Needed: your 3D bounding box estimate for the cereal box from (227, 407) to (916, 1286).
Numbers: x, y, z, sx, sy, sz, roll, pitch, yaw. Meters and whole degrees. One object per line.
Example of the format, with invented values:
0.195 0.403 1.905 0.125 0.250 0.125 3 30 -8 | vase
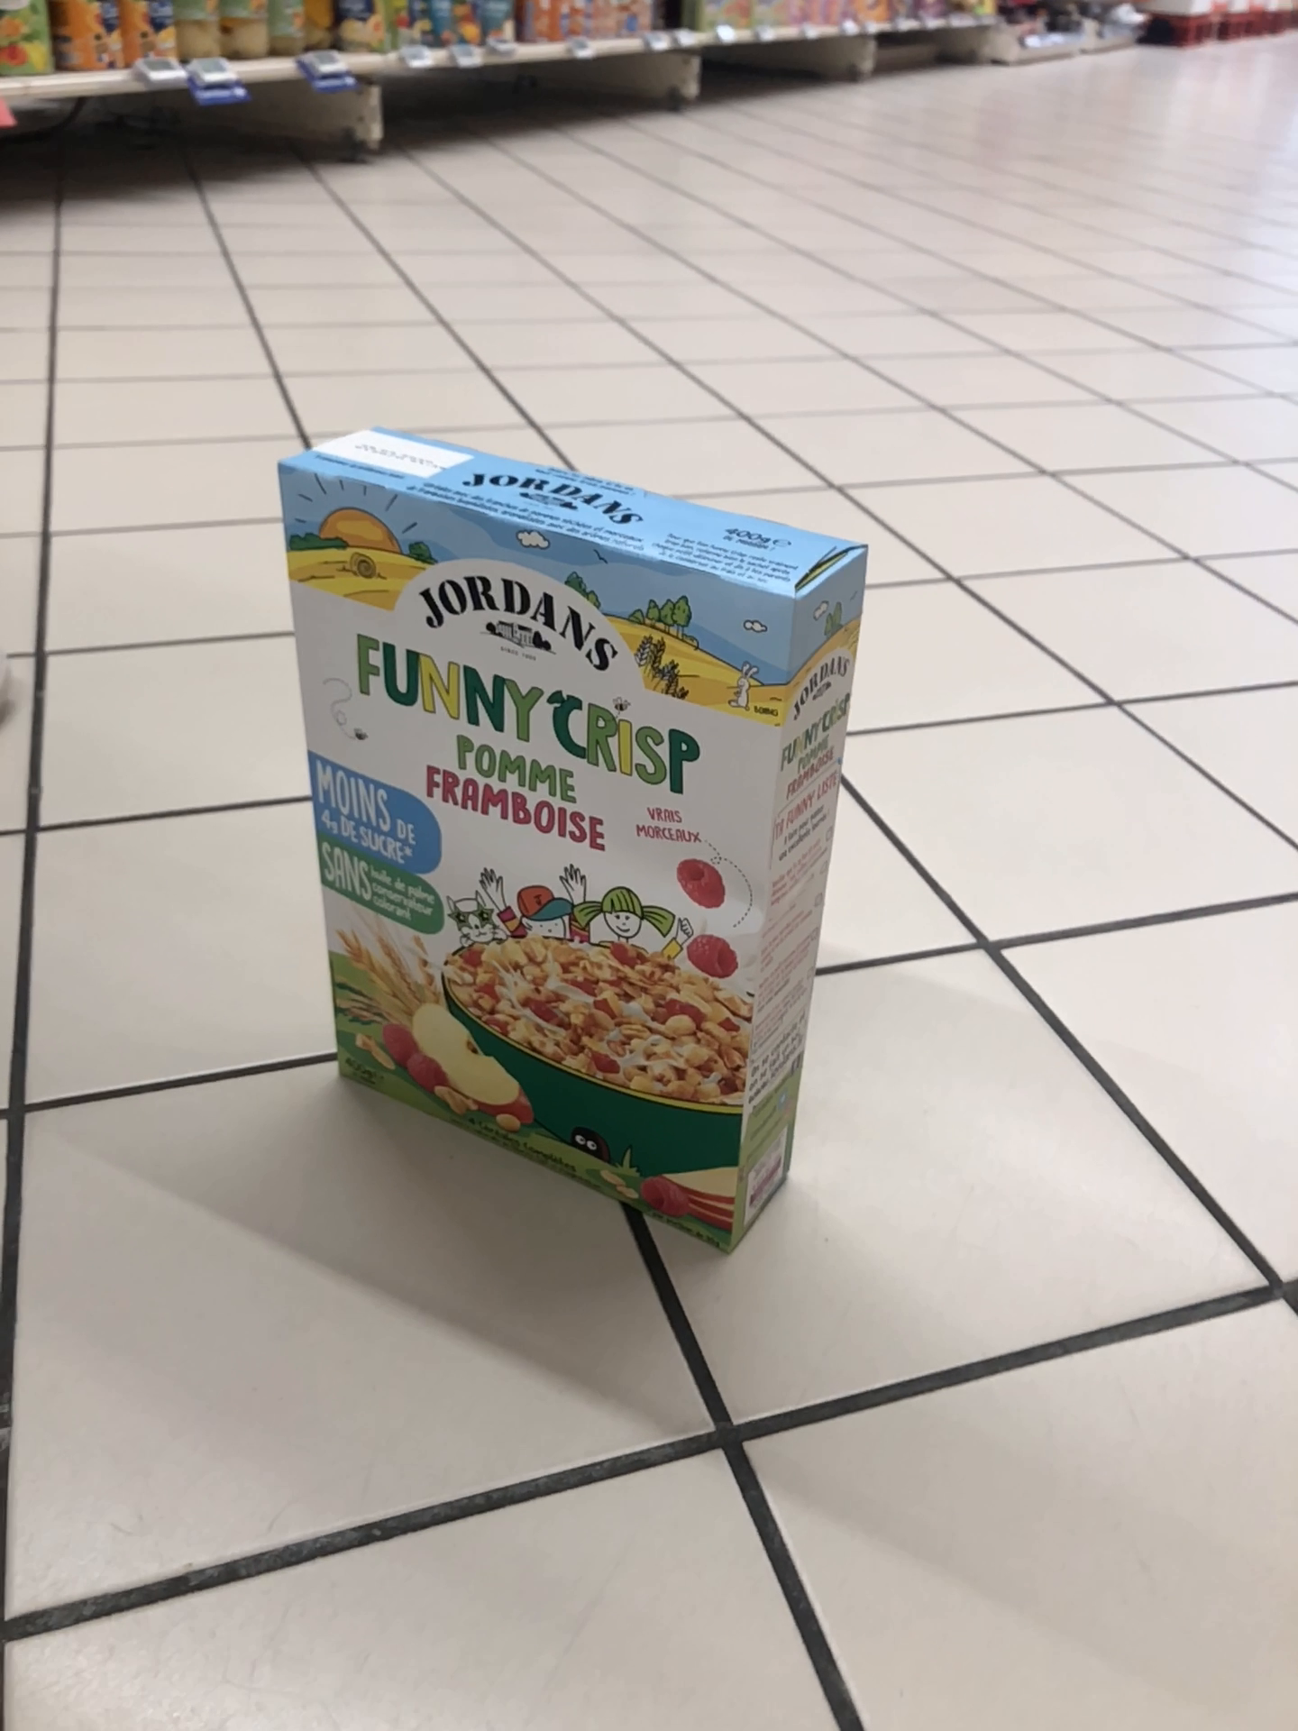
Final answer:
-0.029 -0.006 0.456 0.180 0.229 0.070 19 35 23 | cereal box
